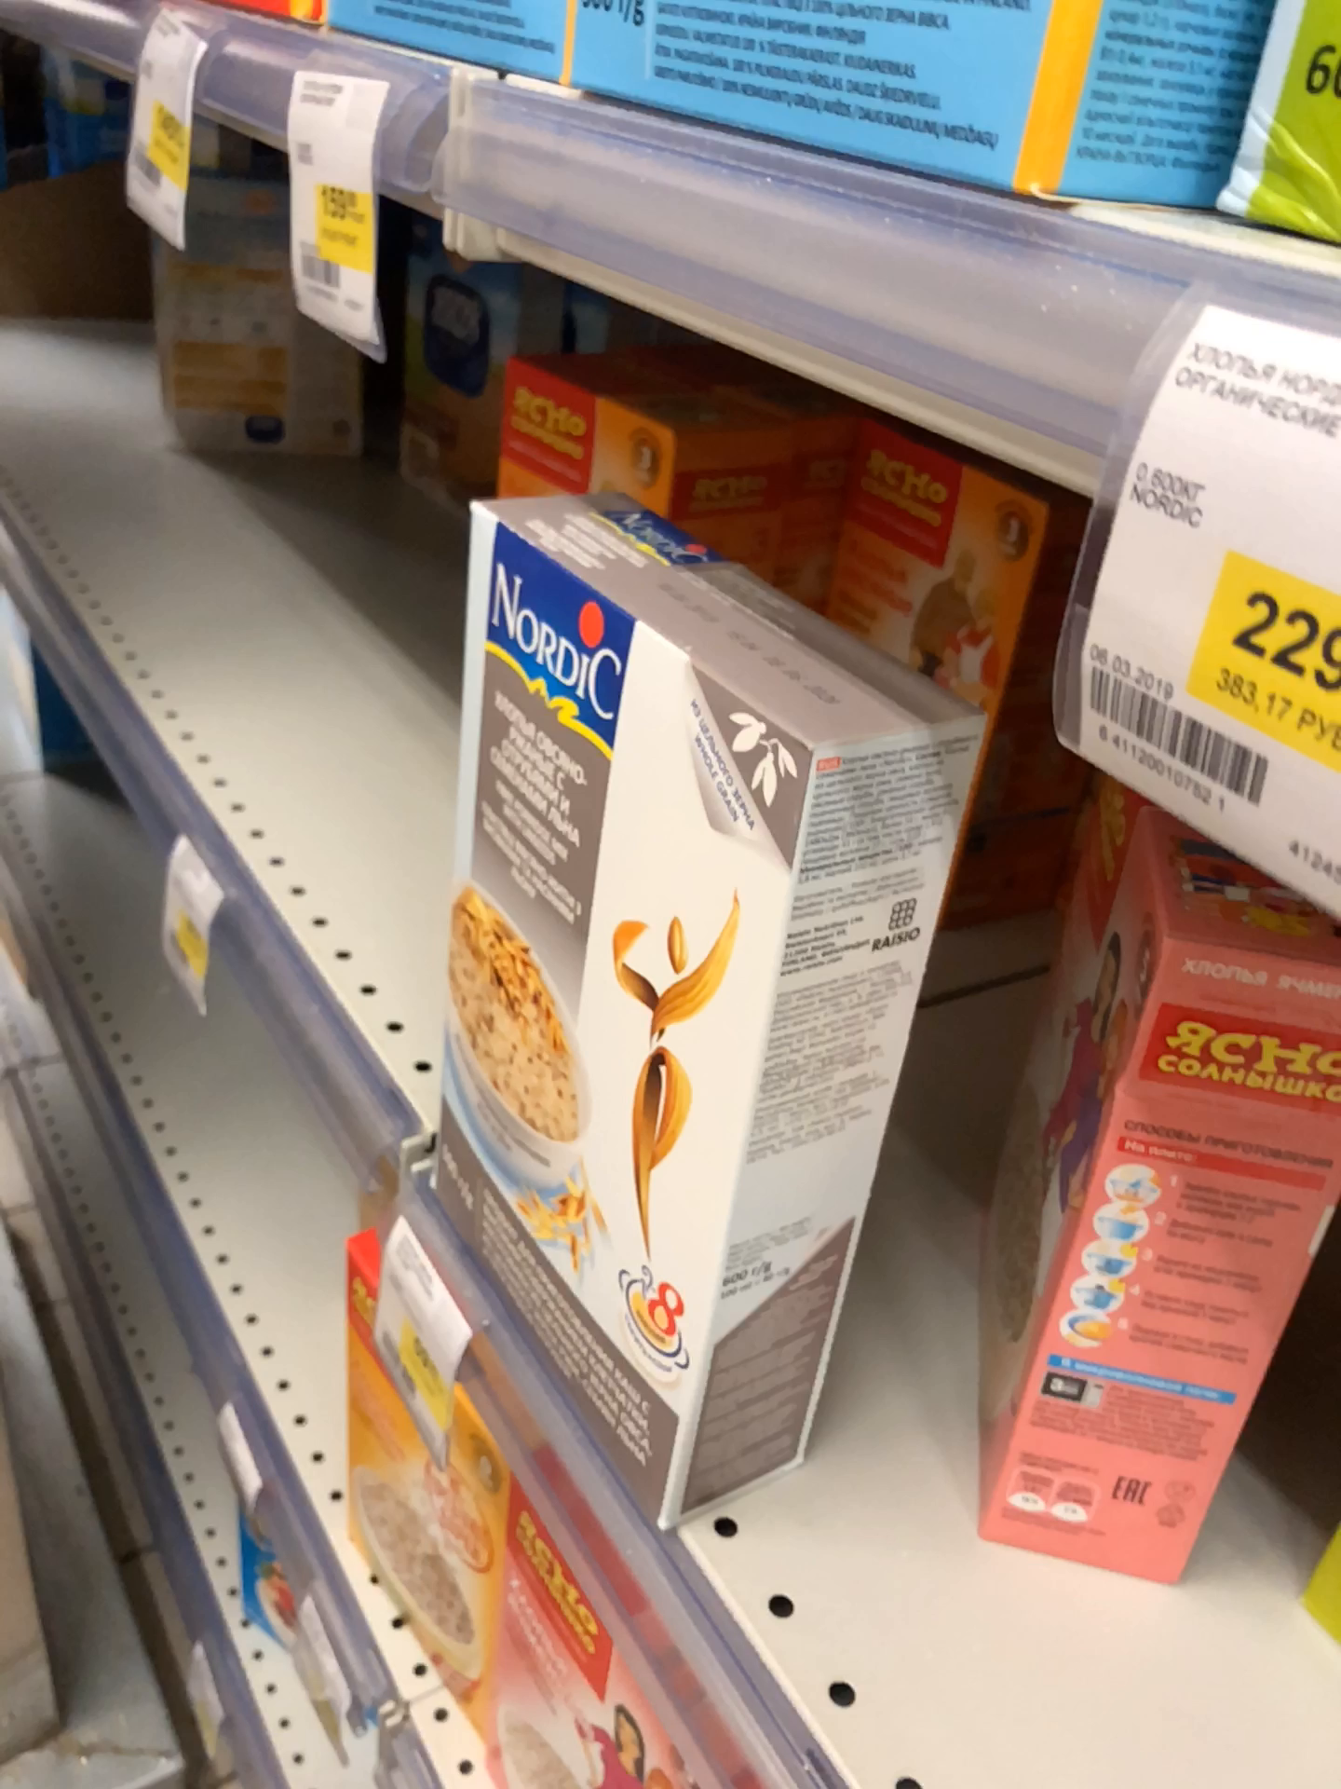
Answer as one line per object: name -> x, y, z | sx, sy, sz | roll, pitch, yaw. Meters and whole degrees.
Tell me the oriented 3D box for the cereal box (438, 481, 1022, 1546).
cereal box -> -0.003, 0.029, 0.385 | 0.050, 0.229, 0.141 | -13, 36, -31
